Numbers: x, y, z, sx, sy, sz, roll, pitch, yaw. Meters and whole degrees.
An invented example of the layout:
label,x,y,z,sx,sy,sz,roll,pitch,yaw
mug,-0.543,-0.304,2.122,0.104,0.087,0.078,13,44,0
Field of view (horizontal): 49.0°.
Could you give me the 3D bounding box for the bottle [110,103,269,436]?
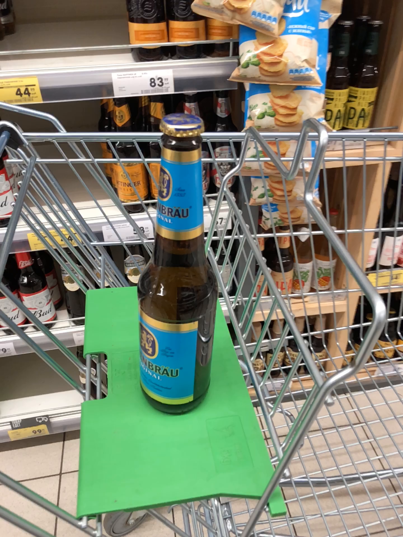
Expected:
label,x,y,z,sx,sy,sz,roll,pitch,yaw
bottle,-0.014,0.011,0.350,0.070,0.249,0.080,-18,39,-27
